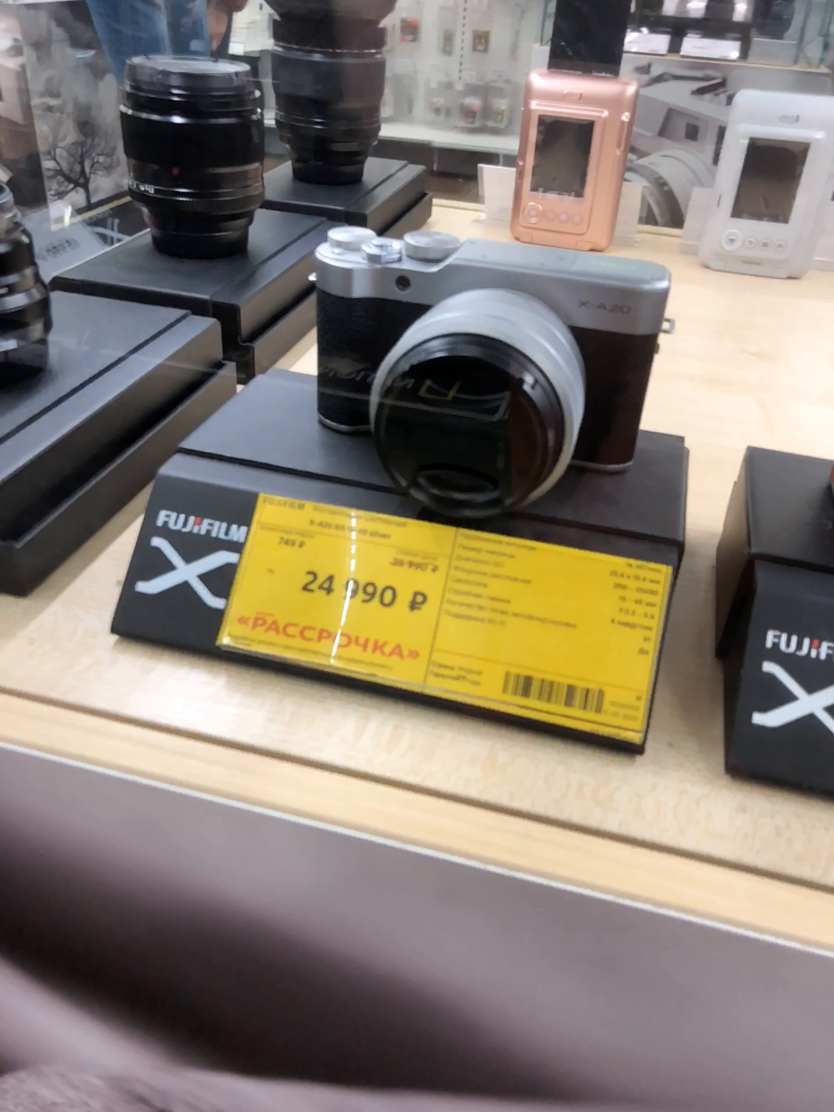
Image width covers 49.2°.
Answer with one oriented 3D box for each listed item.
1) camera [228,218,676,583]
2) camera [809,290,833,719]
[{"bbox_3d":[0.015,-0.057,0.299,0.120,0.072,0.088,12,33,11],"label":"camera"},{"bbox_3d":[0.198,-0.022,0.272,0.128,0.072,0.088,12,33,11],"label":"camera"}]
